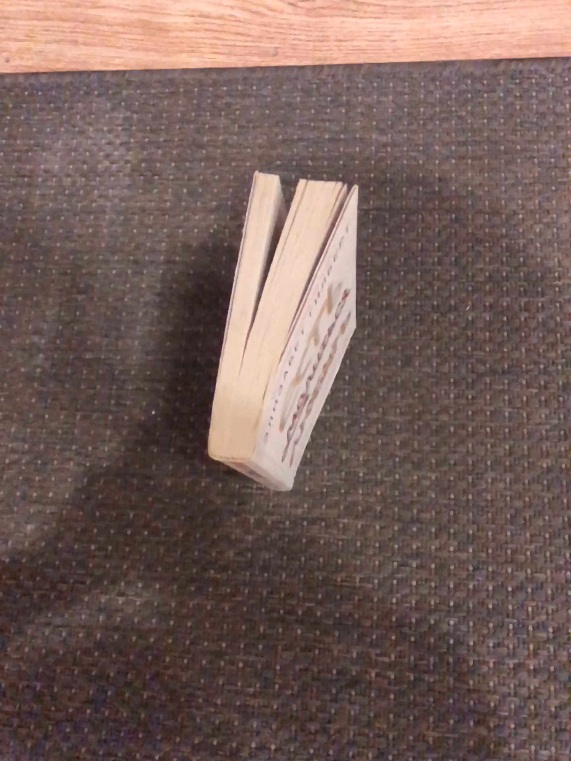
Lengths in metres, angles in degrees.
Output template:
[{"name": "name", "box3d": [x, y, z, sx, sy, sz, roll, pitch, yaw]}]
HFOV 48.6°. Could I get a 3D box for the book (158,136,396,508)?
[{"name": "book", "box3d": [0.004, -0.012, 0.398, 0.068, 0.214, 0.161, 15, 78, 7]}]
